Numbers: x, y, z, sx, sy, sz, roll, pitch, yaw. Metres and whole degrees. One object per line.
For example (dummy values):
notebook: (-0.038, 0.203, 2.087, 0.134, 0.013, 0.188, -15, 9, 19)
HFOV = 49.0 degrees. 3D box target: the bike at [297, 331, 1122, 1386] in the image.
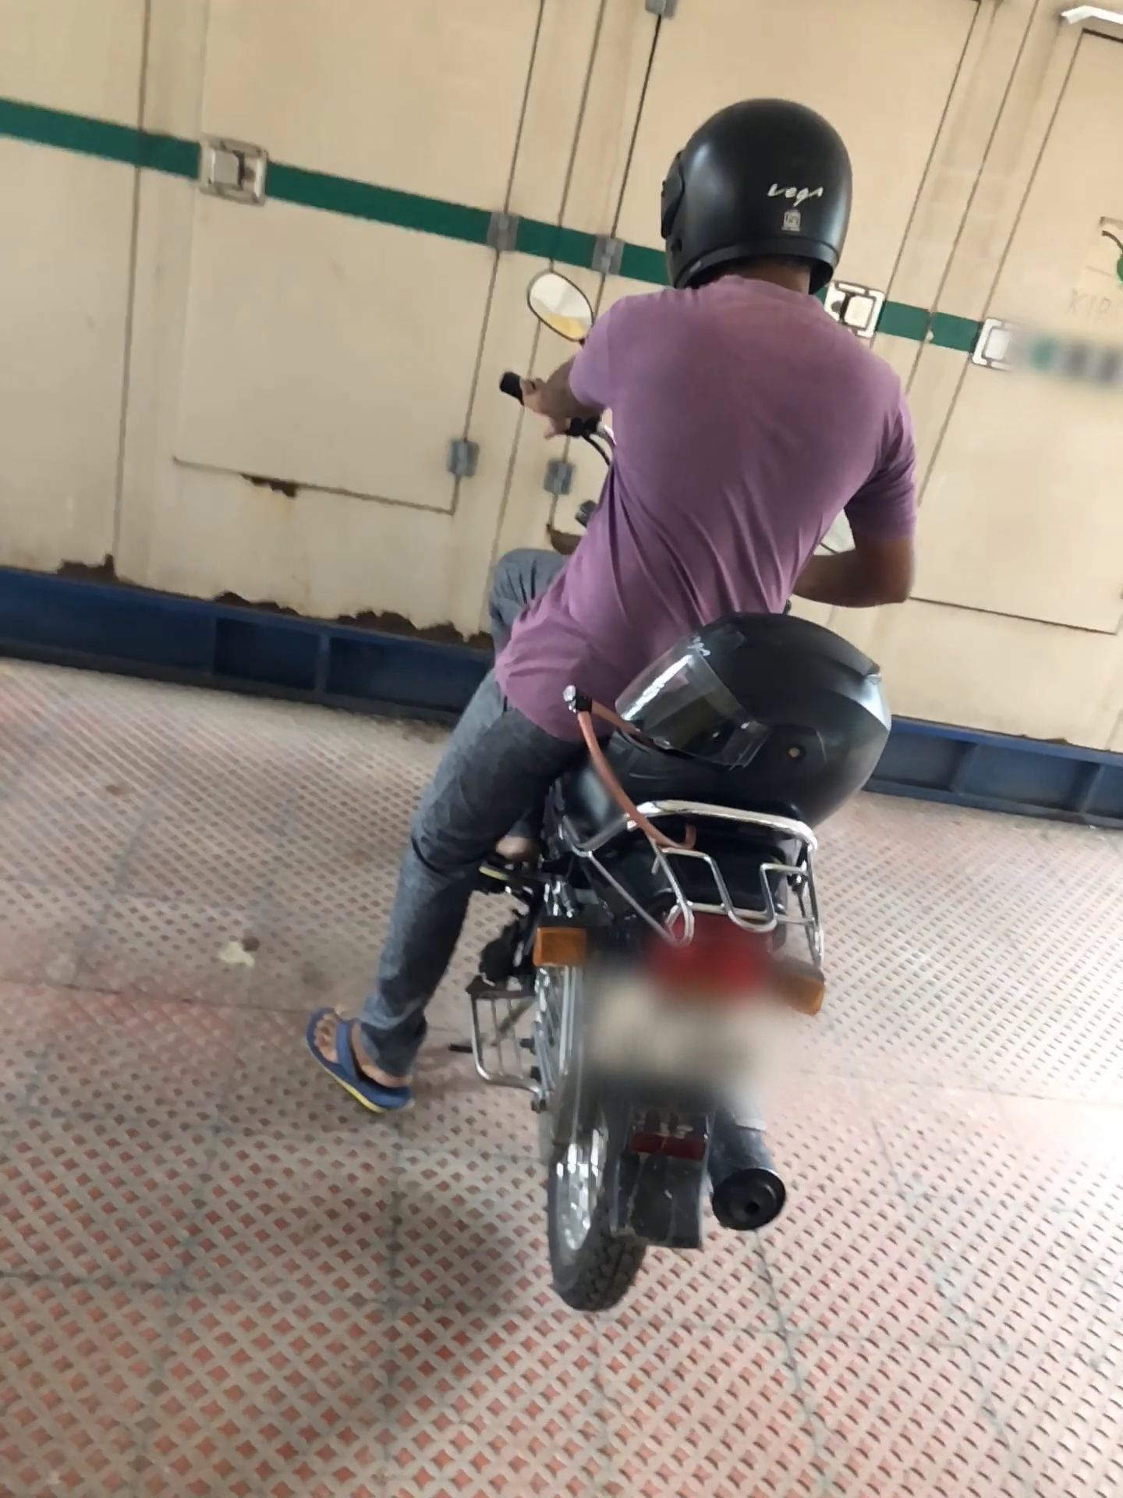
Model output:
bike: (0.258, -0.003, 2.092, 0.814, 0.927, 1.604, 13, 28, -2)
